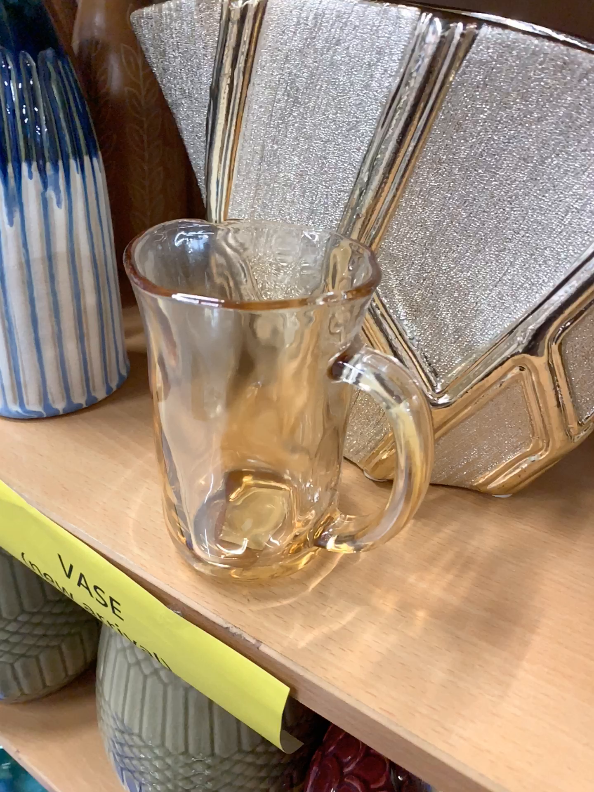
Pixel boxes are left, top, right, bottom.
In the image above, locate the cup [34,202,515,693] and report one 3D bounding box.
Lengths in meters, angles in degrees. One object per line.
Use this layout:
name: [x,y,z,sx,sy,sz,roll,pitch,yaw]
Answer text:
cup: [-0.008,0.005,0.199,0.110,0.100,0.080,22,35,28]
